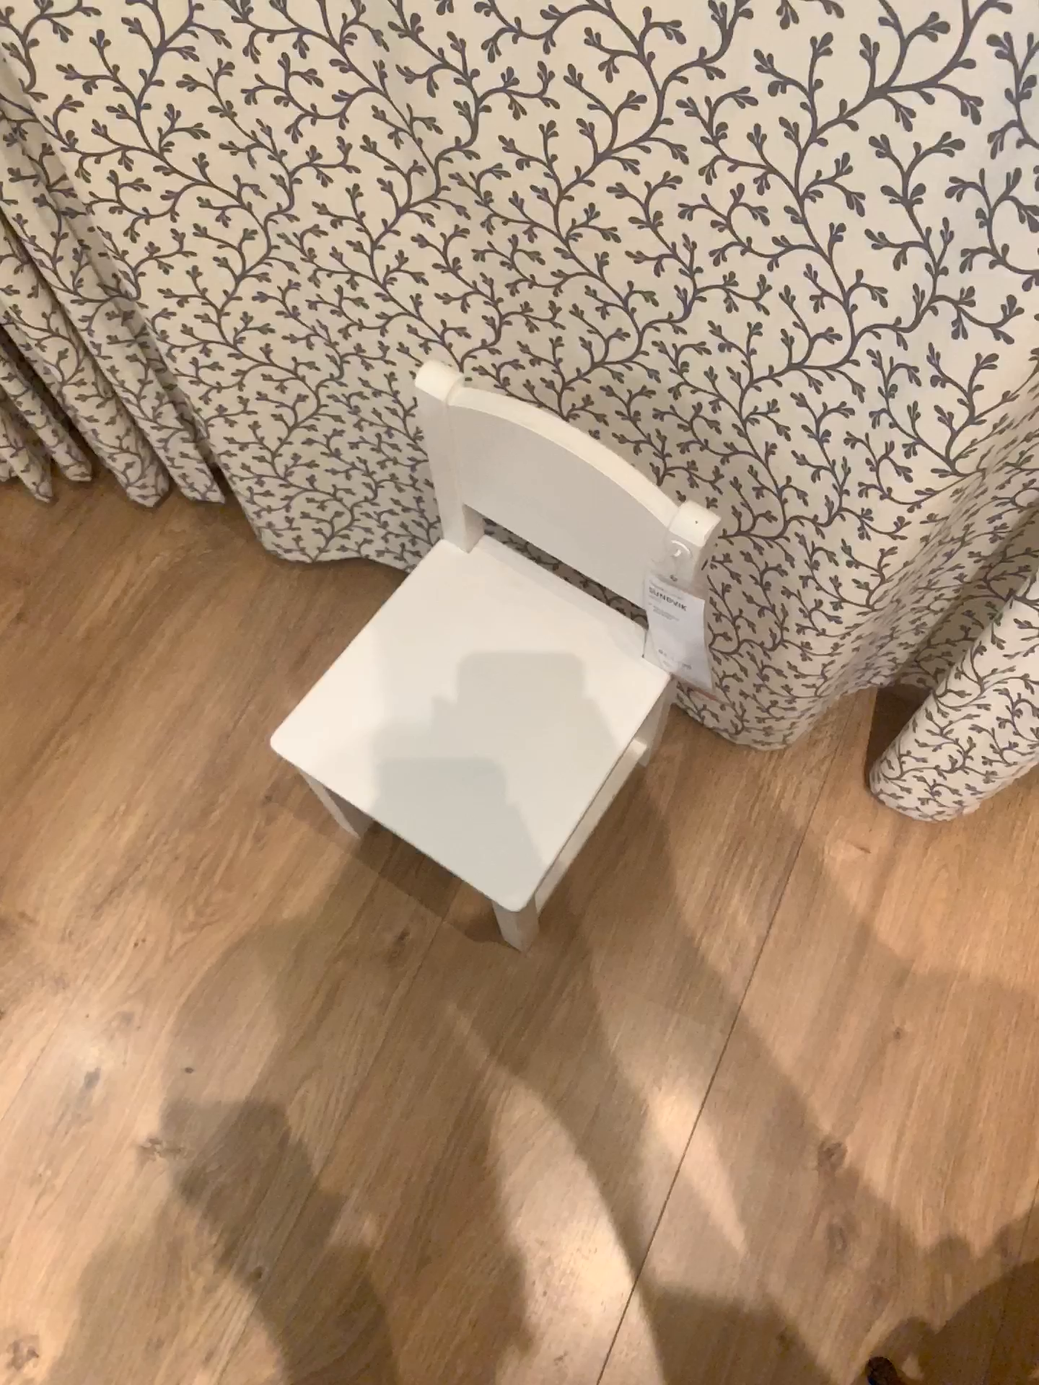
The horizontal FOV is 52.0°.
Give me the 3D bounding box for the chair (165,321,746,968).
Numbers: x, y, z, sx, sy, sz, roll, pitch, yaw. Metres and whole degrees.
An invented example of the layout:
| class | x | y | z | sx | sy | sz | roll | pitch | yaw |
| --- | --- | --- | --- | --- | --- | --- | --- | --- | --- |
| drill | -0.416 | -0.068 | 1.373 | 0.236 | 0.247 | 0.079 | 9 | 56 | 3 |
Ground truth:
| class | x | y | z | sx | sy | sz | roll | pitch | yaw |
| --- | --- | --- | --- | --- | --- | --- | --- | --- | --- |
| chair | -0.029 | 0.014 | 0.972 | 0.270 | 0.570 | 0.290 | 31 | 73 | 14 |
